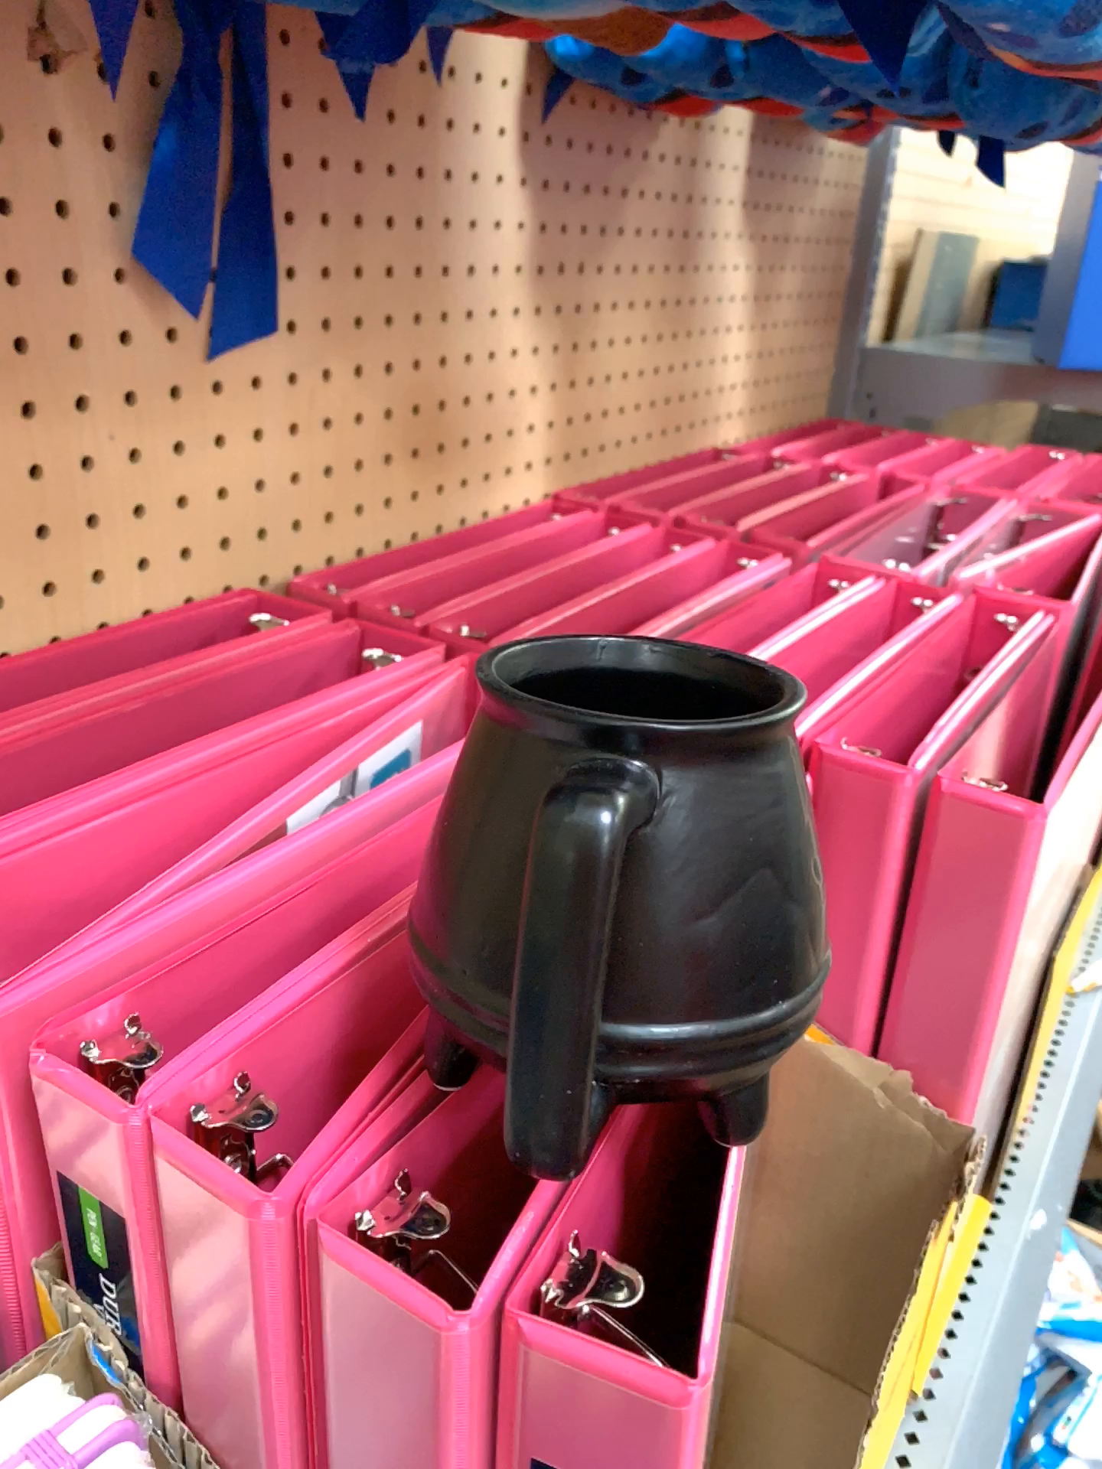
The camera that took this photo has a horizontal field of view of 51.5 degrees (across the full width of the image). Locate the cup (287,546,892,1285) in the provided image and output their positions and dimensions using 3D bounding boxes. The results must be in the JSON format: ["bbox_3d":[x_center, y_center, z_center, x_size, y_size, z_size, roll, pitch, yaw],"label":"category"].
[{"bbox_3d":[0.016,0.024,0.250,0.097,0.093,0.122,10,24,13],"label":"cup"}]
